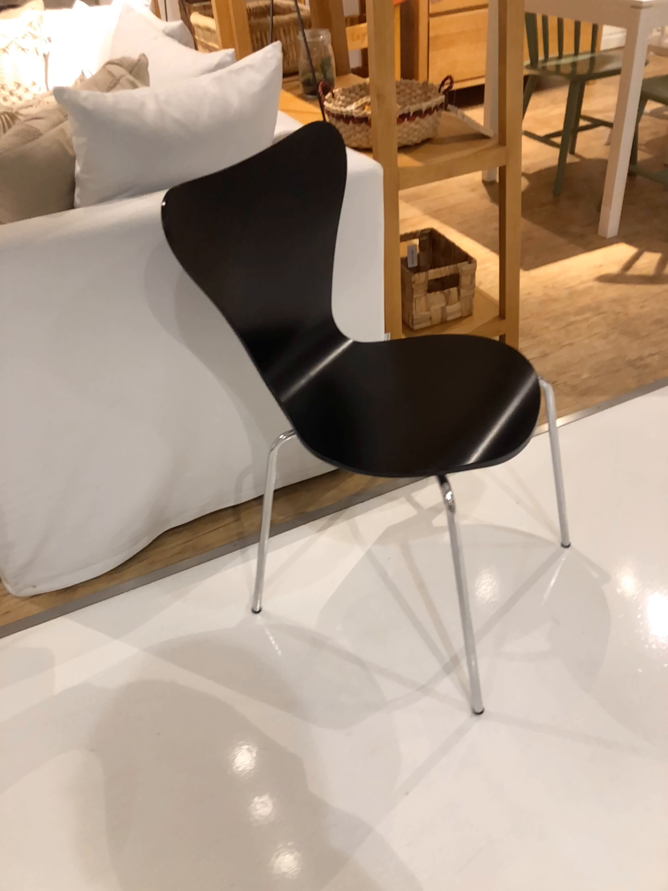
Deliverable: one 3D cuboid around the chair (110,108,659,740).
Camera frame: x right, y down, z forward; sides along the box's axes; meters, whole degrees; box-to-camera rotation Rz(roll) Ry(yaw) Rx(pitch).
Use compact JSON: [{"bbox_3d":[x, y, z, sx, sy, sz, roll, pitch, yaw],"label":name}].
[{"bbox_3d":[0.114,-0.066,1.234,0.551,0.774,0.543,18,43,28],"label":"chair"}]
